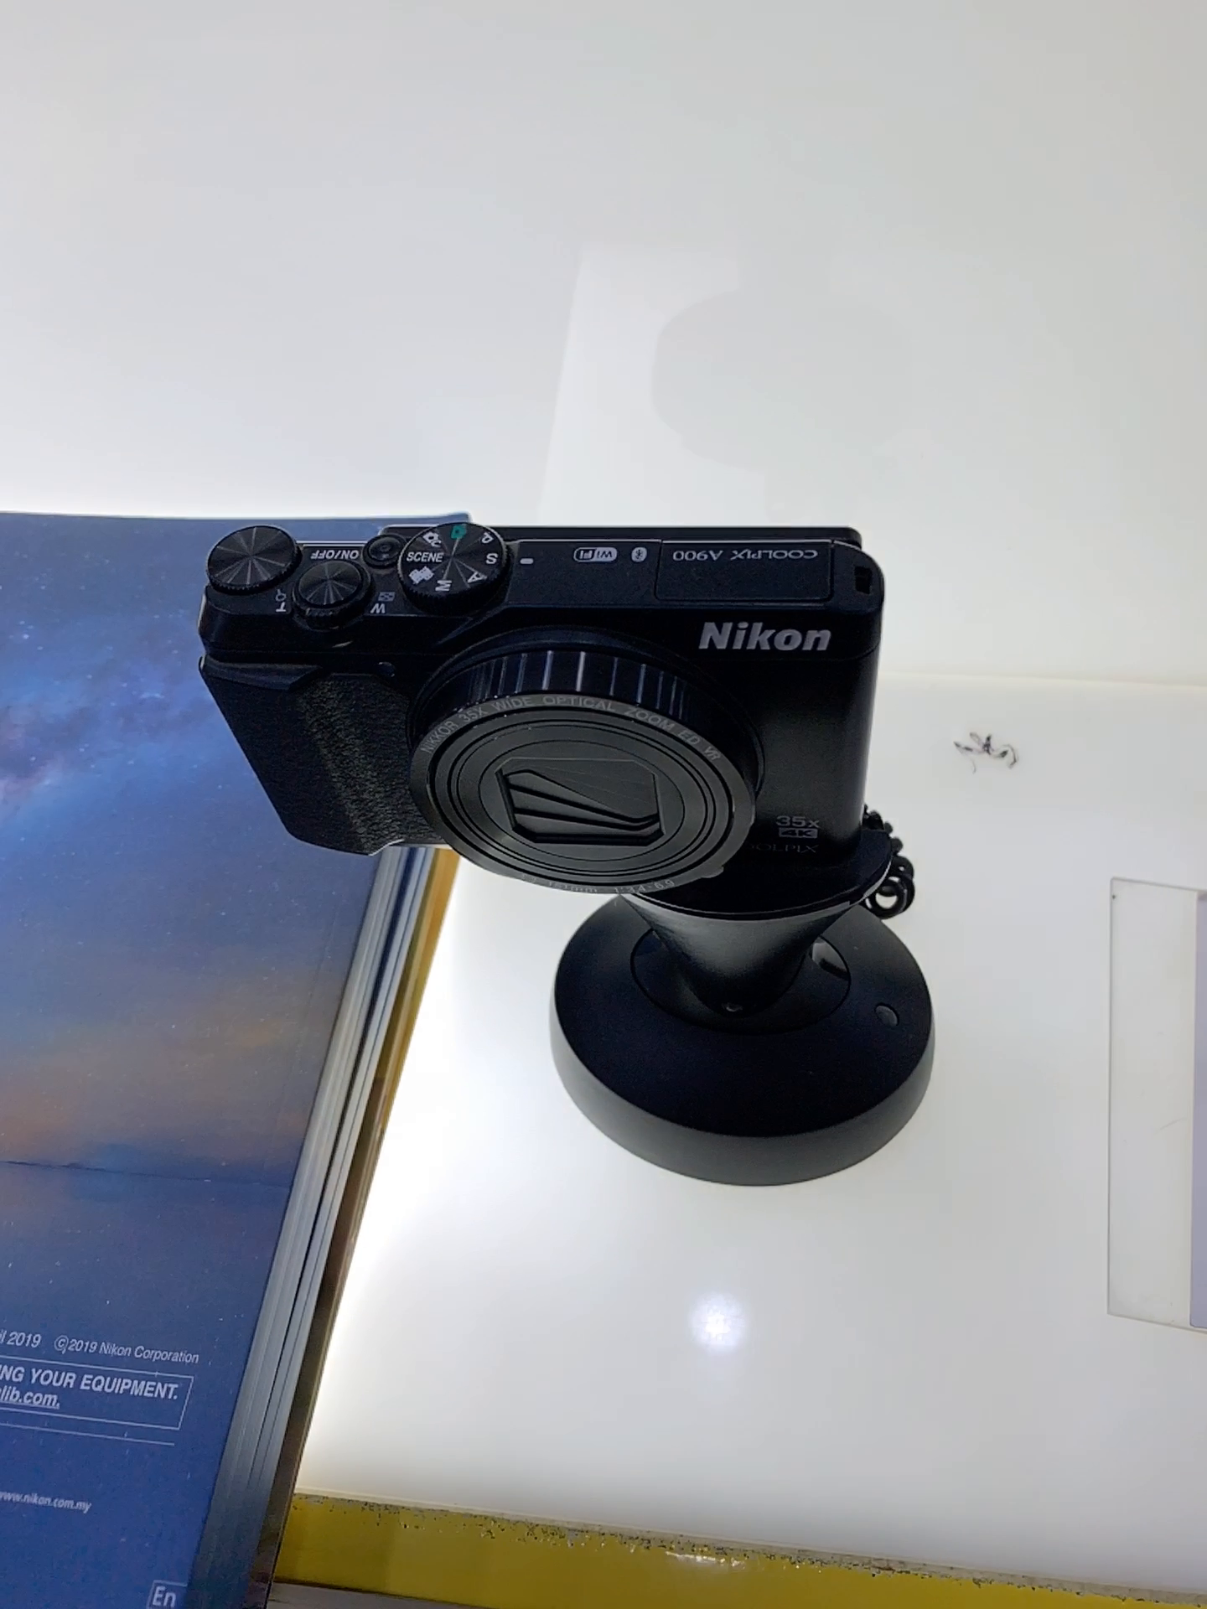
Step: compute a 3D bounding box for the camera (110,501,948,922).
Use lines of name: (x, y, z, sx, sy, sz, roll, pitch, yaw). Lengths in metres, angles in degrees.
camera: (-0.009, -0.015, 0.213, 0.120, 0.060, 0.040, 2, 54, 6)
